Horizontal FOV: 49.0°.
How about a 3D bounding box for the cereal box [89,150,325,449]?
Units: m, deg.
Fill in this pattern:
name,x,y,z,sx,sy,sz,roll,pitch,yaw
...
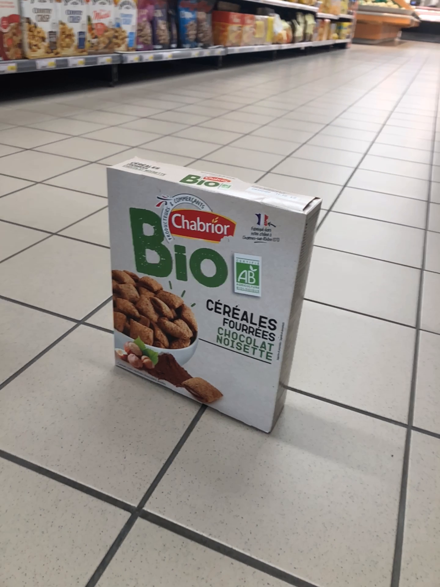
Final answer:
name,x,y,z,sx,sy,sz,roll,pitch,yaw
cereal box,-0.027,0.001,0.481,0.210,0.239,0.060,19,28,24
